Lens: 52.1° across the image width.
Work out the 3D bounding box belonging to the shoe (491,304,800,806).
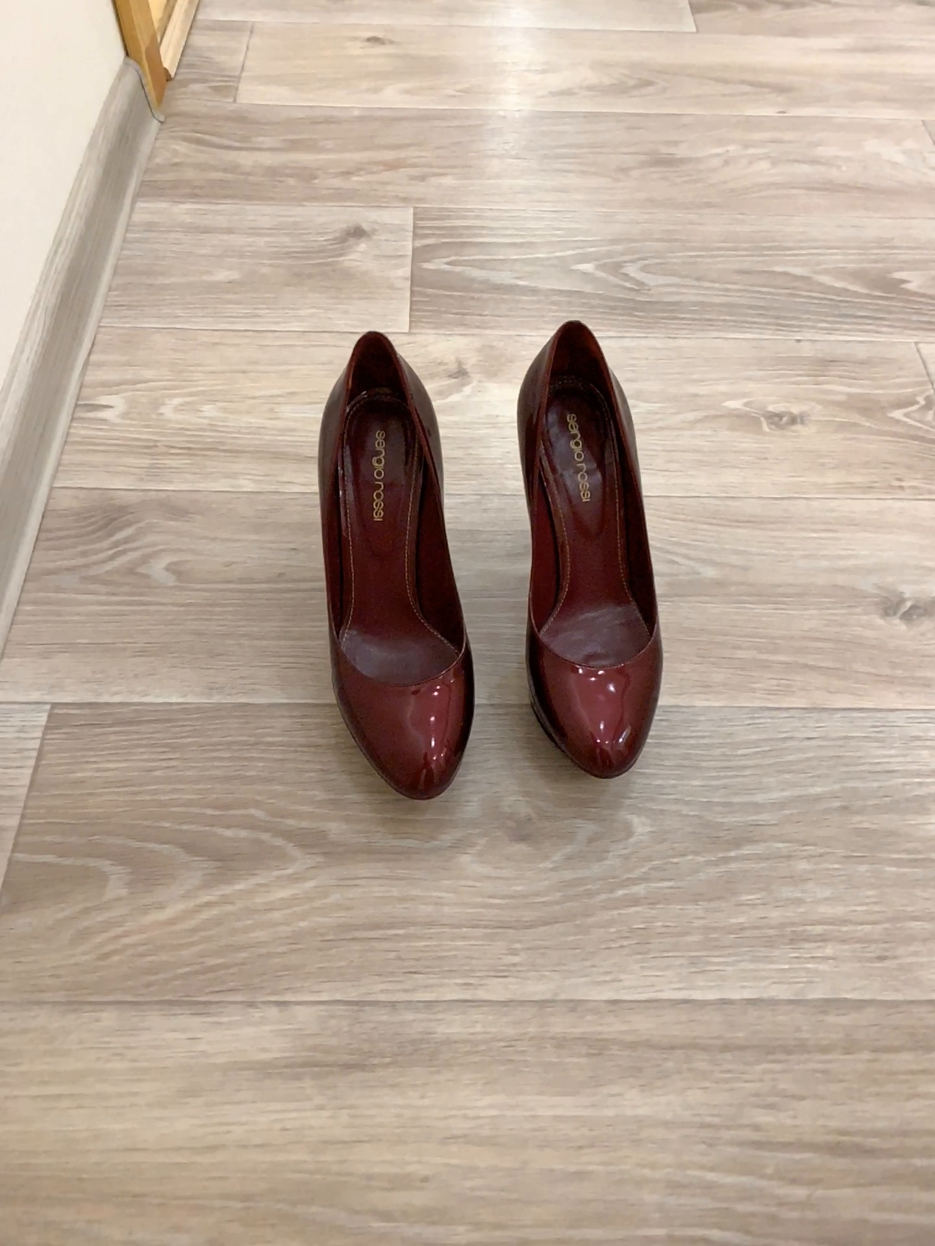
[{"bbox_3d":[0.075,-0.036,0.504,0.086,0.149,0.211,-5,56,-6],"label":"shoe"}]

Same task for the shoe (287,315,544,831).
[{"bbox_3d":[-0.033,-0.026,0.495,0.086,0.149,0.211,-7,56,-7],"label":"shoe"}]
